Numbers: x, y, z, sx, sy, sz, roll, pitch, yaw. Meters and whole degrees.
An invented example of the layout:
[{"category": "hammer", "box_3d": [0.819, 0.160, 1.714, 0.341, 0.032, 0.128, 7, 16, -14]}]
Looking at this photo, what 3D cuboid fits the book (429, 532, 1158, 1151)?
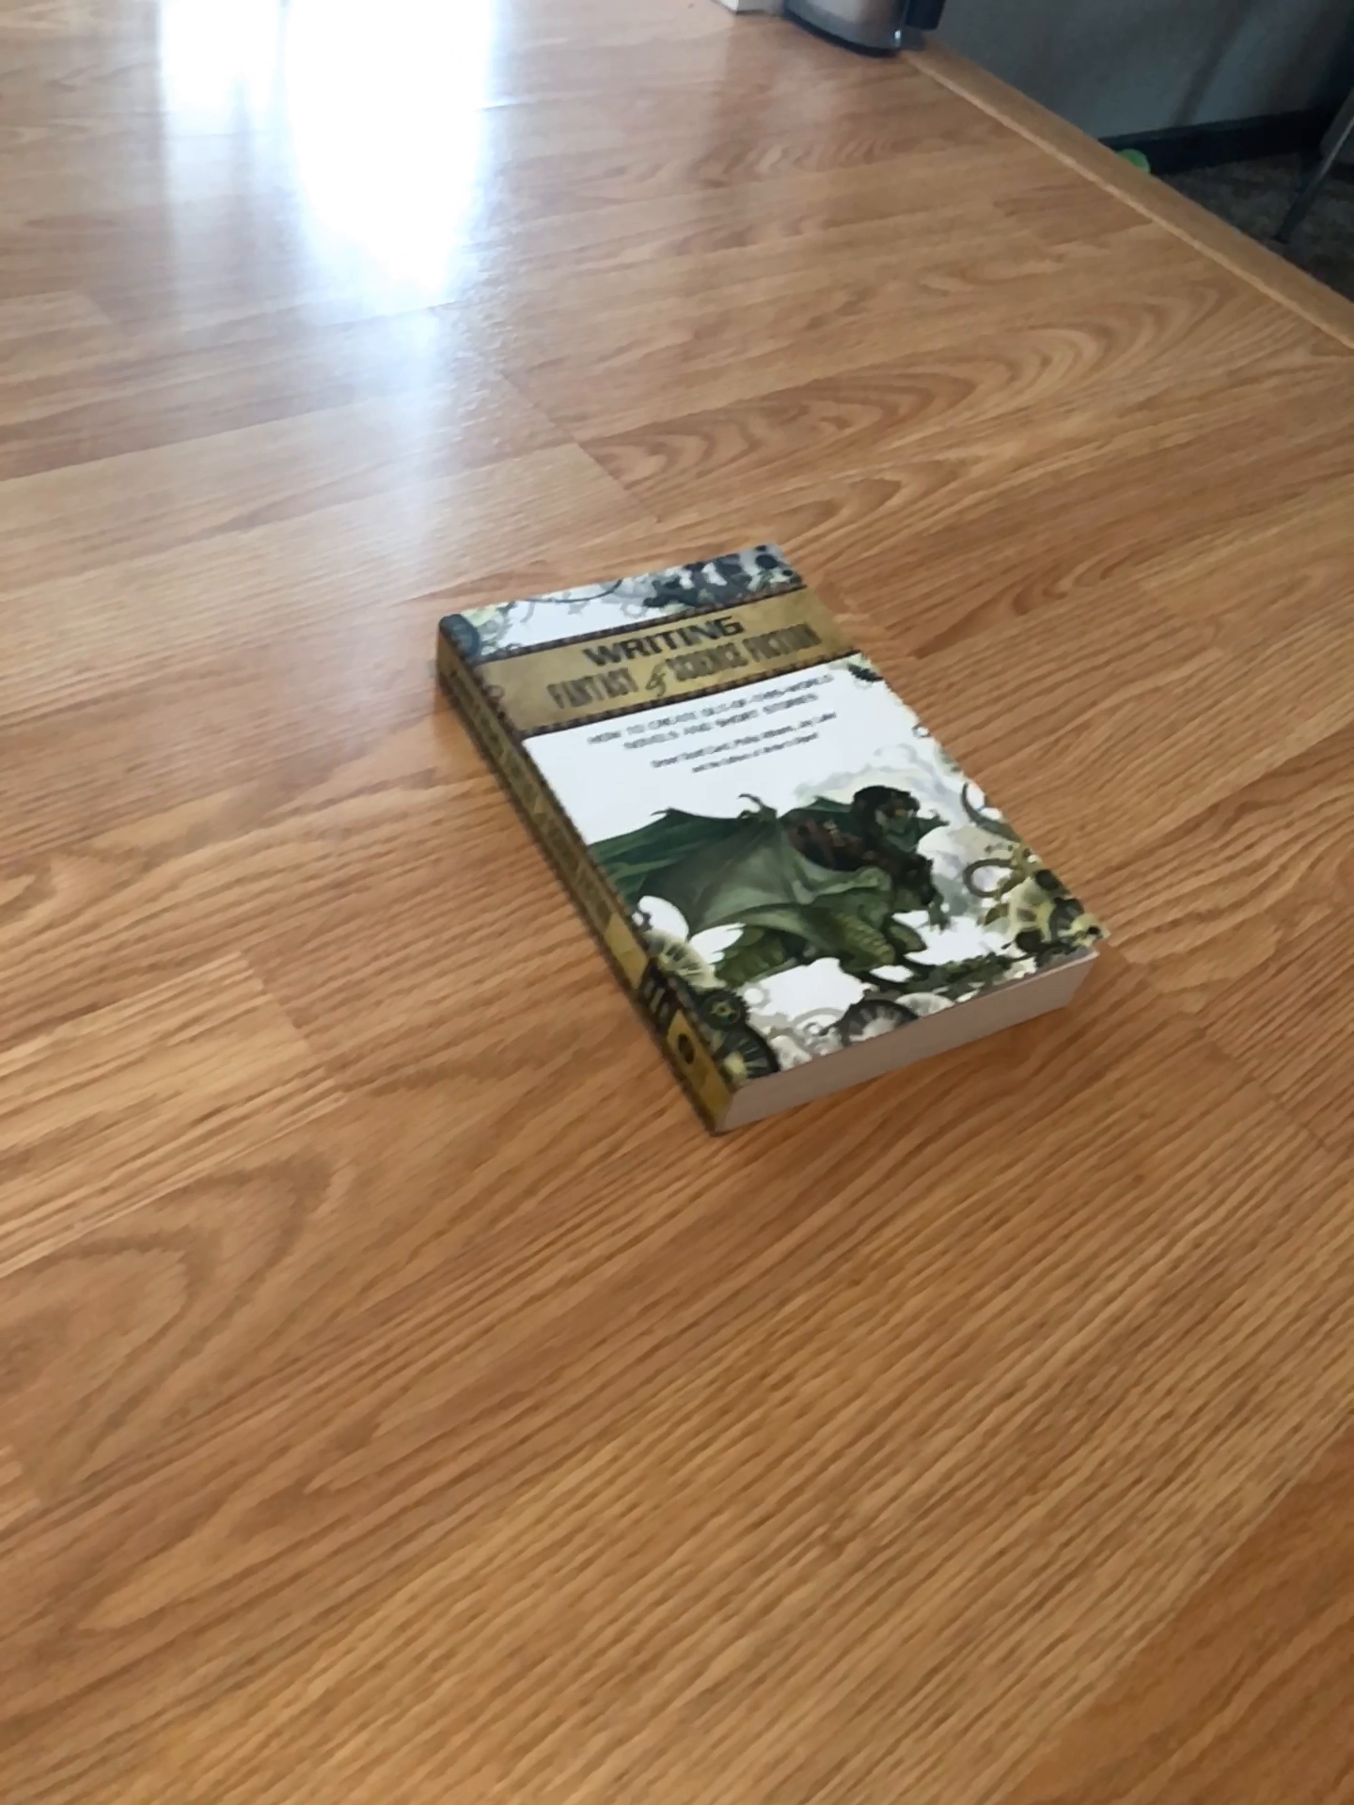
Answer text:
[{"category": "book", "box_3d": [0.034, -0.039, 0.543, 0.165, 0.040, 0.228, -17, 56, -27]}]
